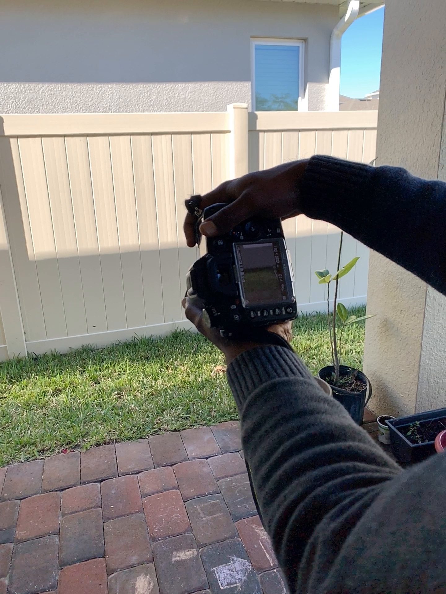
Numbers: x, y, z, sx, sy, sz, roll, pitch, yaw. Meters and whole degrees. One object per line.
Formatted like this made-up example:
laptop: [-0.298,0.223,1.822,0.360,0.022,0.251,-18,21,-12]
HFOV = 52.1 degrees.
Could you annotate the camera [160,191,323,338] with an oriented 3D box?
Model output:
camera: [0.006,-0.022,0.449,0.090,0.110,0.170,-7,-3,-19]
